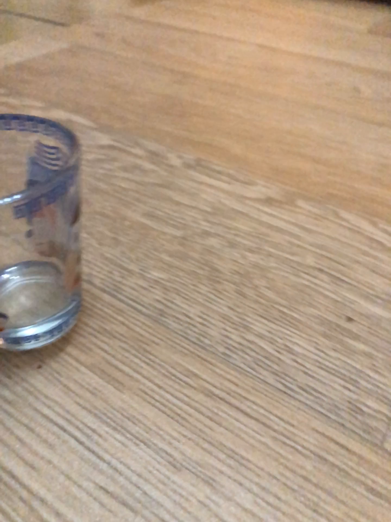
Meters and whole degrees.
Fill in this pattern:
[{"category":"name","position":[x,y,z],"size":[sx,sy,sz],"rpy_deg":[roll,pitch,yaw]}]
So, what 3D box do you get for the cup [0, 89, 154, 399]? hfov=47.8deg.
[{"category":"cup","position":[-0.049,-0.007,0.129],"size":[0.050,0.060,0.050],"rpy_deg":[1,42,-1]}]
